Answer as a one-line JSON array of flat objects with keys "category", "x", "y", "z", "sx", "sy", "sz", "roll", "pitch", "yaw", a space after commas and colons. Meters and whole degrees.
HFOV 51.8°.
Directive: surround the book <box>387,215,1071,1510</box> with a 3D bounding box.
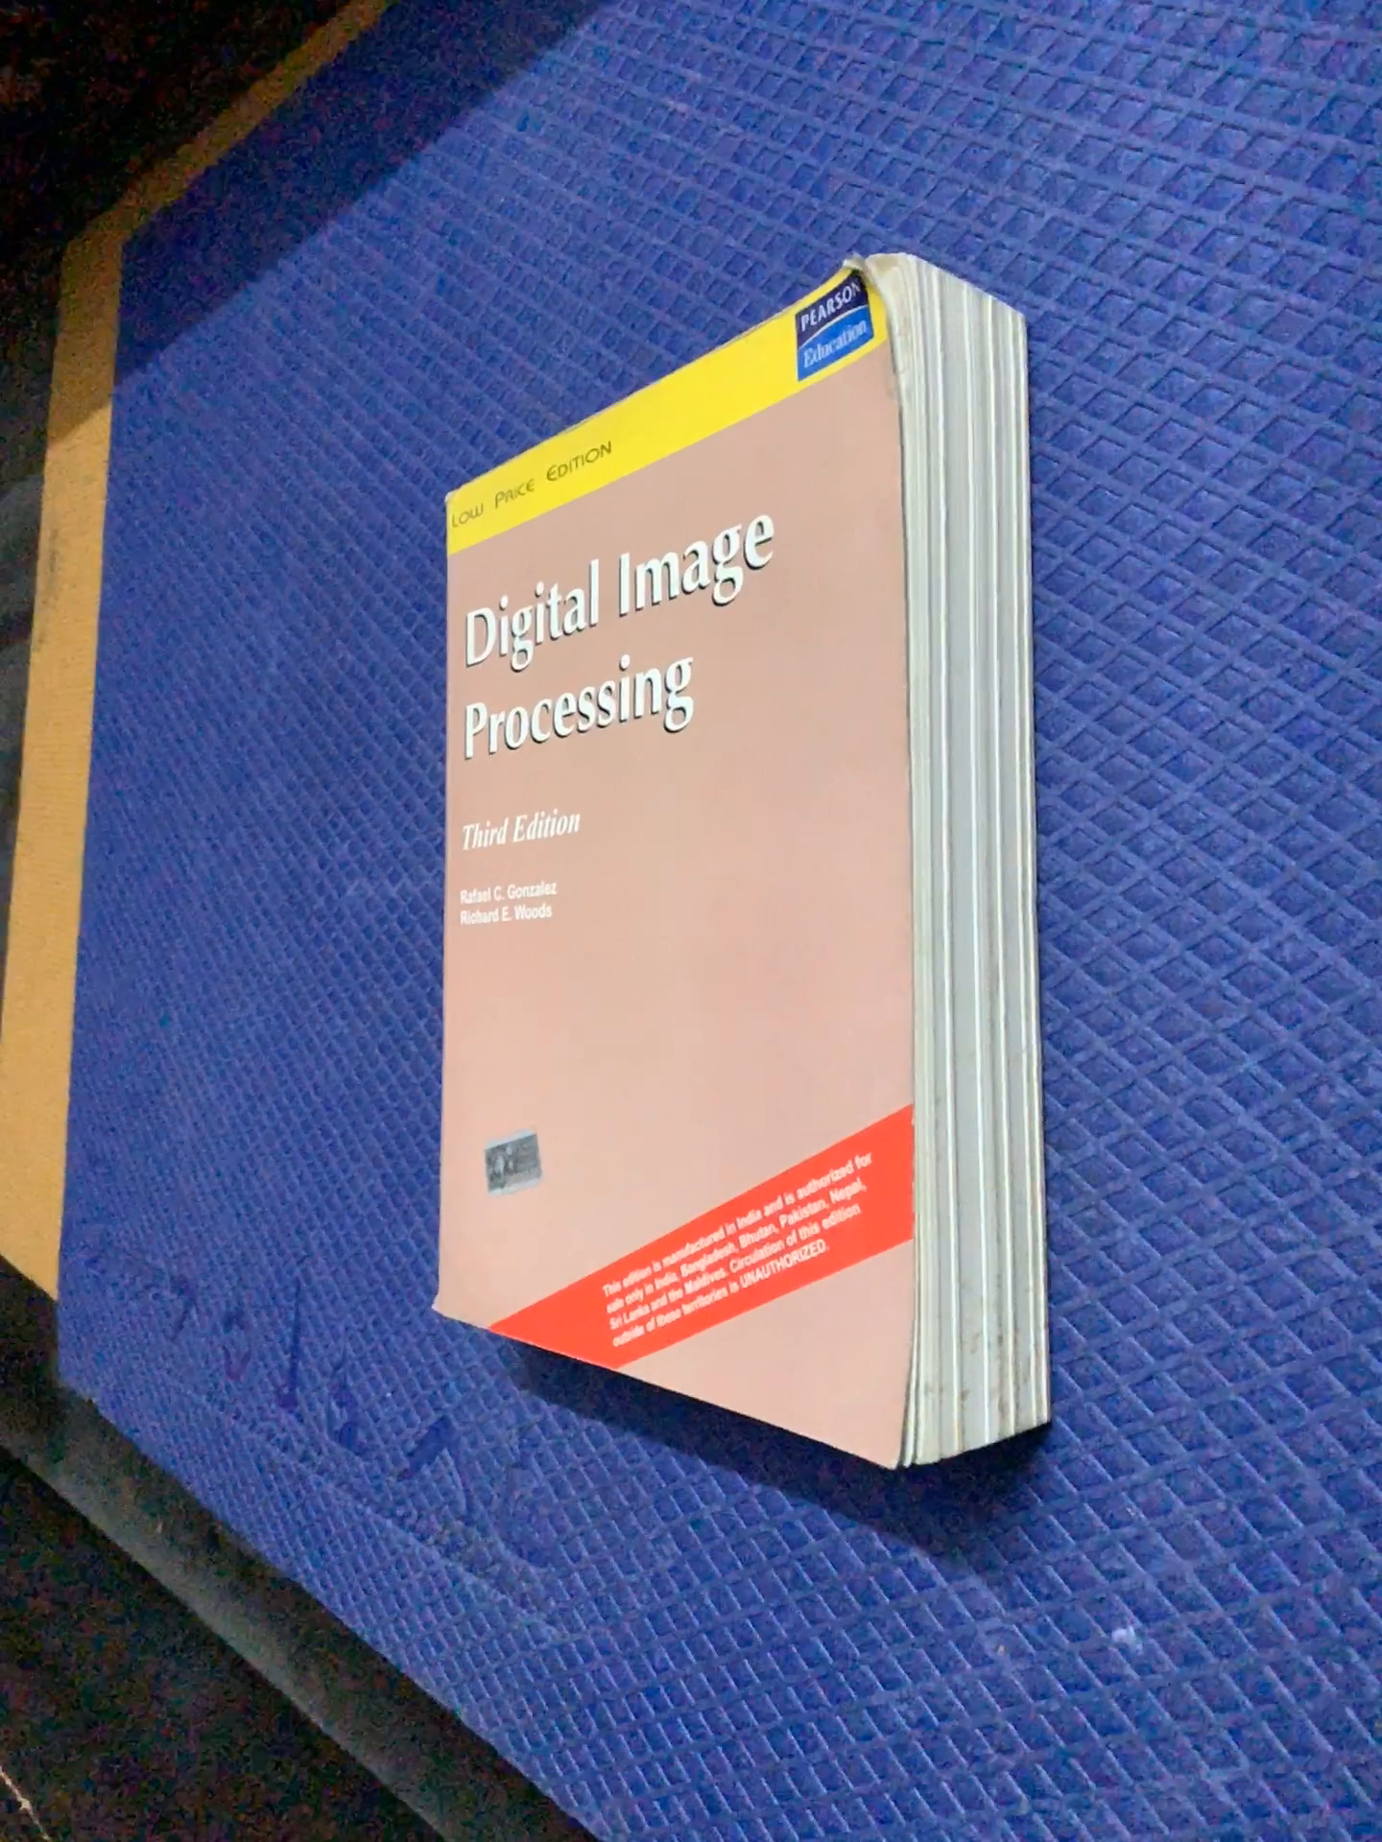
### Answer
[{"category": "book", "x": -0.002, "y": -0.009, "z": 0.326, "sx": 0.175, "sy": 0.045, "sz": 0.225, "roll": -3, "pitch": 84, "yaw": 48}]
